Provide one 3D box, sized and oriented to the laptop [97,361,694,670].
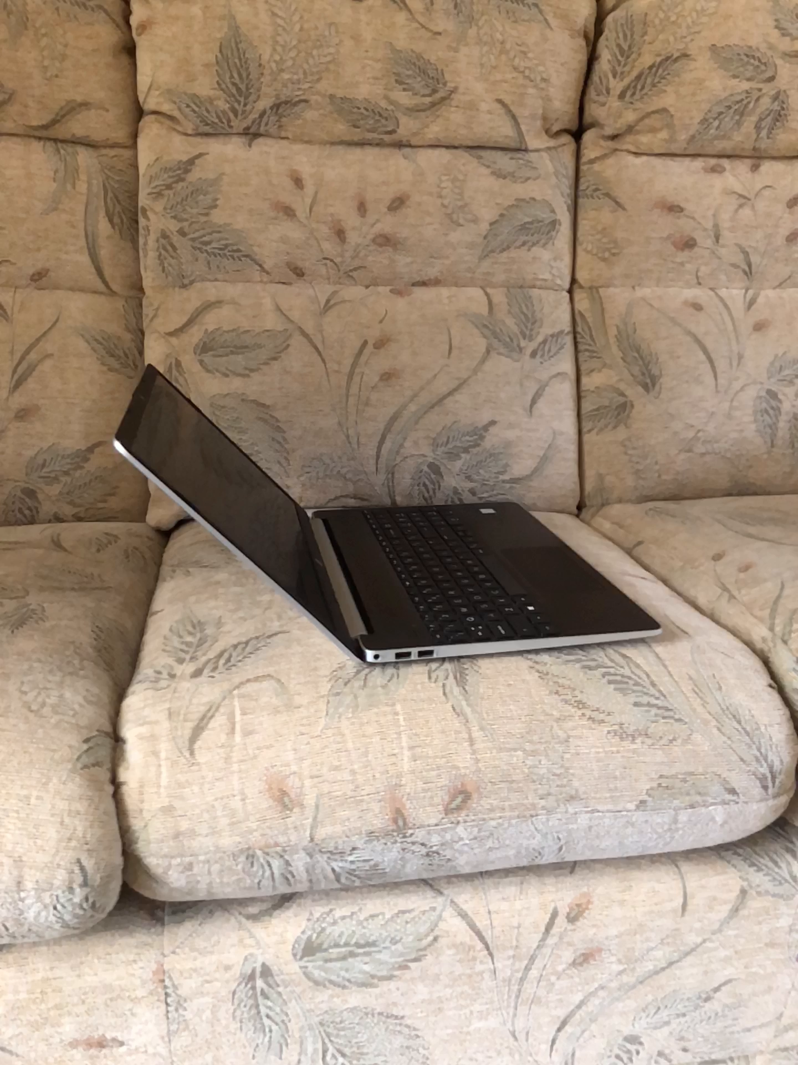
[{"bbox_3d":[-0.022,-0.044,0.763,0.397,0.163,0.340,-3,21,-12],"label":"laptop"}]
